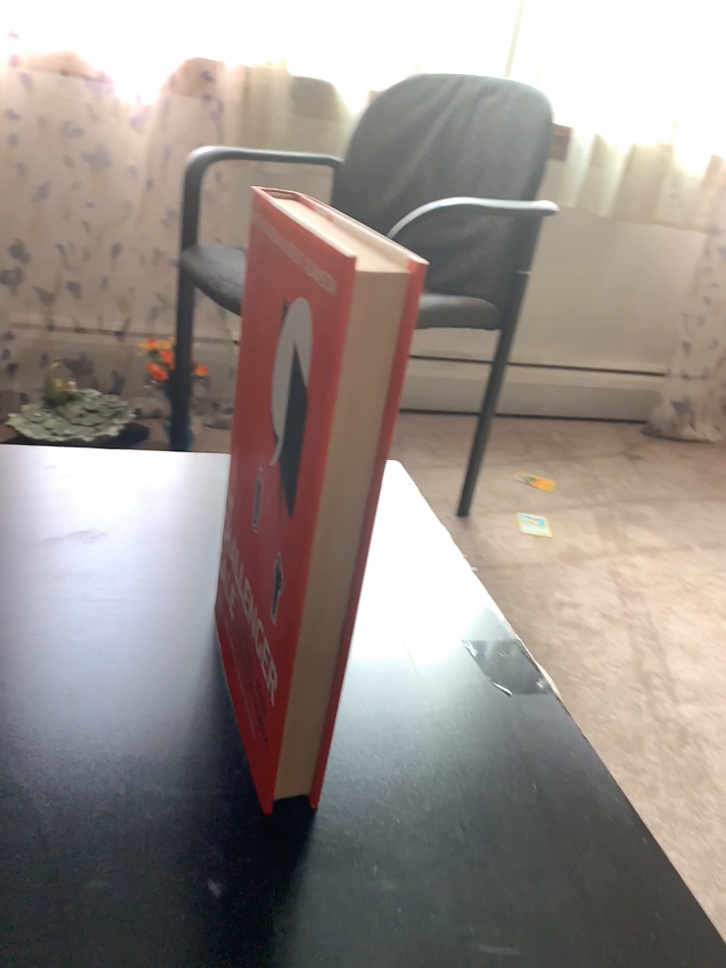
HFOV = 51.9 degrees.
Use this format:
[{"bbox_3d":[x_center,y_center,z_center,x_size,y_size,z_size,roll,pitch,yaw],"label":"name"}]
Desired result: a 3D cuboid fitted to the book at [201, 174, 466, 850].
[{"bbox_3d":[-0.033,0.002,0.330,0.040,0.238,0.171,1,26,-20],"label":"book"}]
